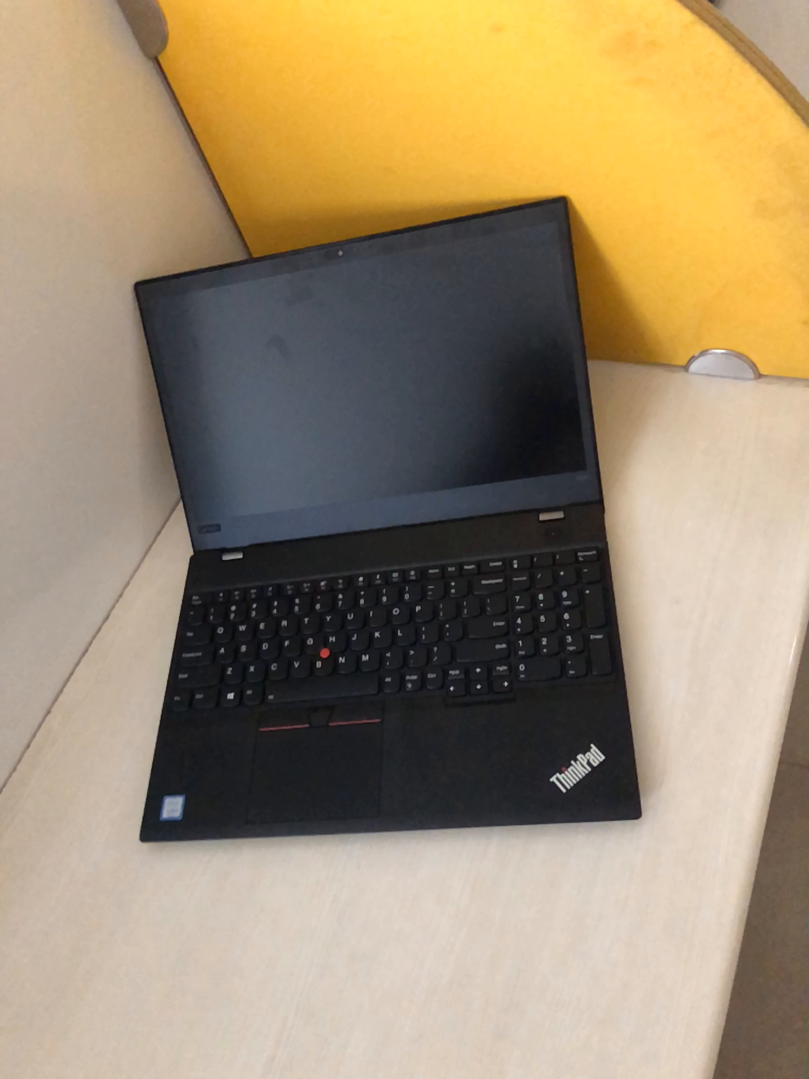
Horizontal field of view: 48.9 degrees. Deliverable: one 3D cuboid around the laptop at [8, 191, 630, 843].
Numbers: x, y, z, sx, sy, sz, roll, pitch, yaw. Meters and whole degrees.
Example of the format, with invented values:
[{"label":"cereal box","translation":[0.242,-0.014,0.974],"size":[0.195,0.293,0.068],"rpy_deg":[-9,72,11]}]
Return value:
[{"label":"laptop","translation":[-0.043,-0.022,0.652],"size":[0.344,0.150,0.422],"rpy_deg":[-7,57,12]}]
